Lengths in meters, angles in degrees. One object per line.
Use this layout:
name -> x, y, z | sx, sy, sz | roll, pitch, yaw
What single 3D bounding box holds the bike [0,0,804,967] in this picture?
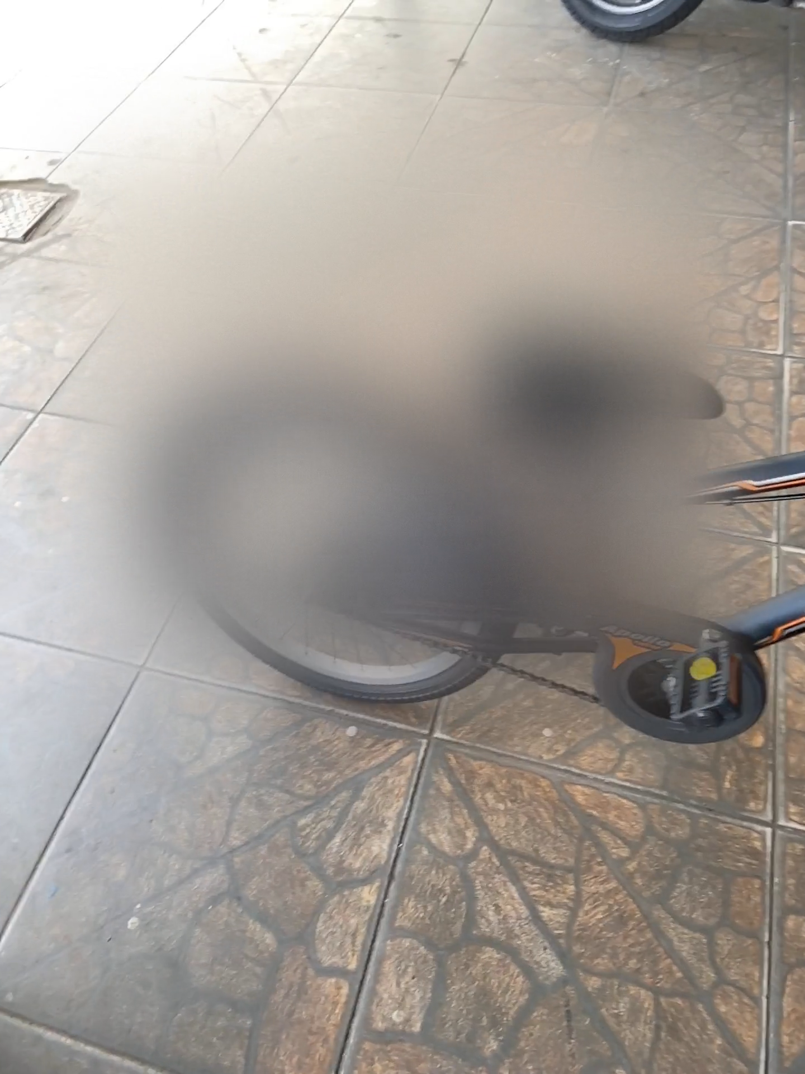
bike -> 0.339, -0.122, 0.892 | 1.349, 0.980, 0.726 | 7, 54, 7
